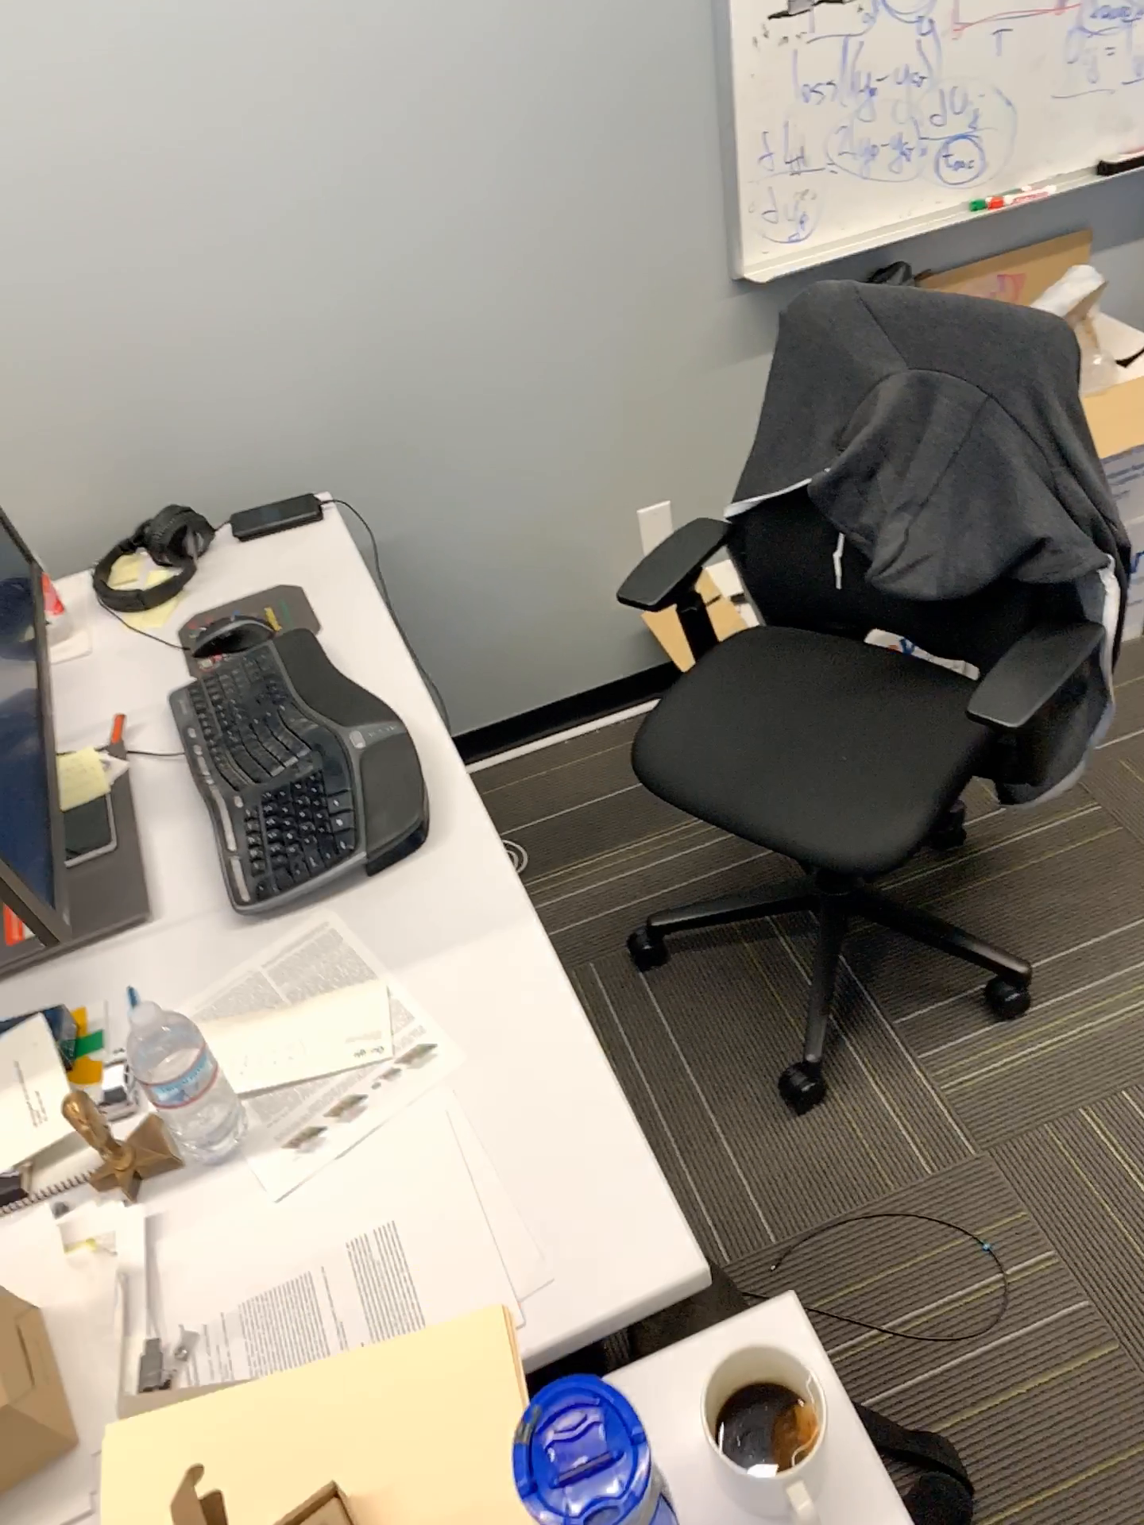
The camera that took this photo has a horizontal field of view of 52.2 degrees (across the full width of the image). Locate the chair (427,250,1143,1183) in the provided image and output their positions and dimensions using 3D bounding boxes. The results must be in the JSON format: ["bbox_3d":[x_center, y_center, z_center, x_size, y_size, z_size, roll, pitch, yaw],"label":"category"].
[{"bbox_3d":[0.406,-0.098,1.805,0.732,0.993,0.773,-37,47,-26],"label":"chair"}]
